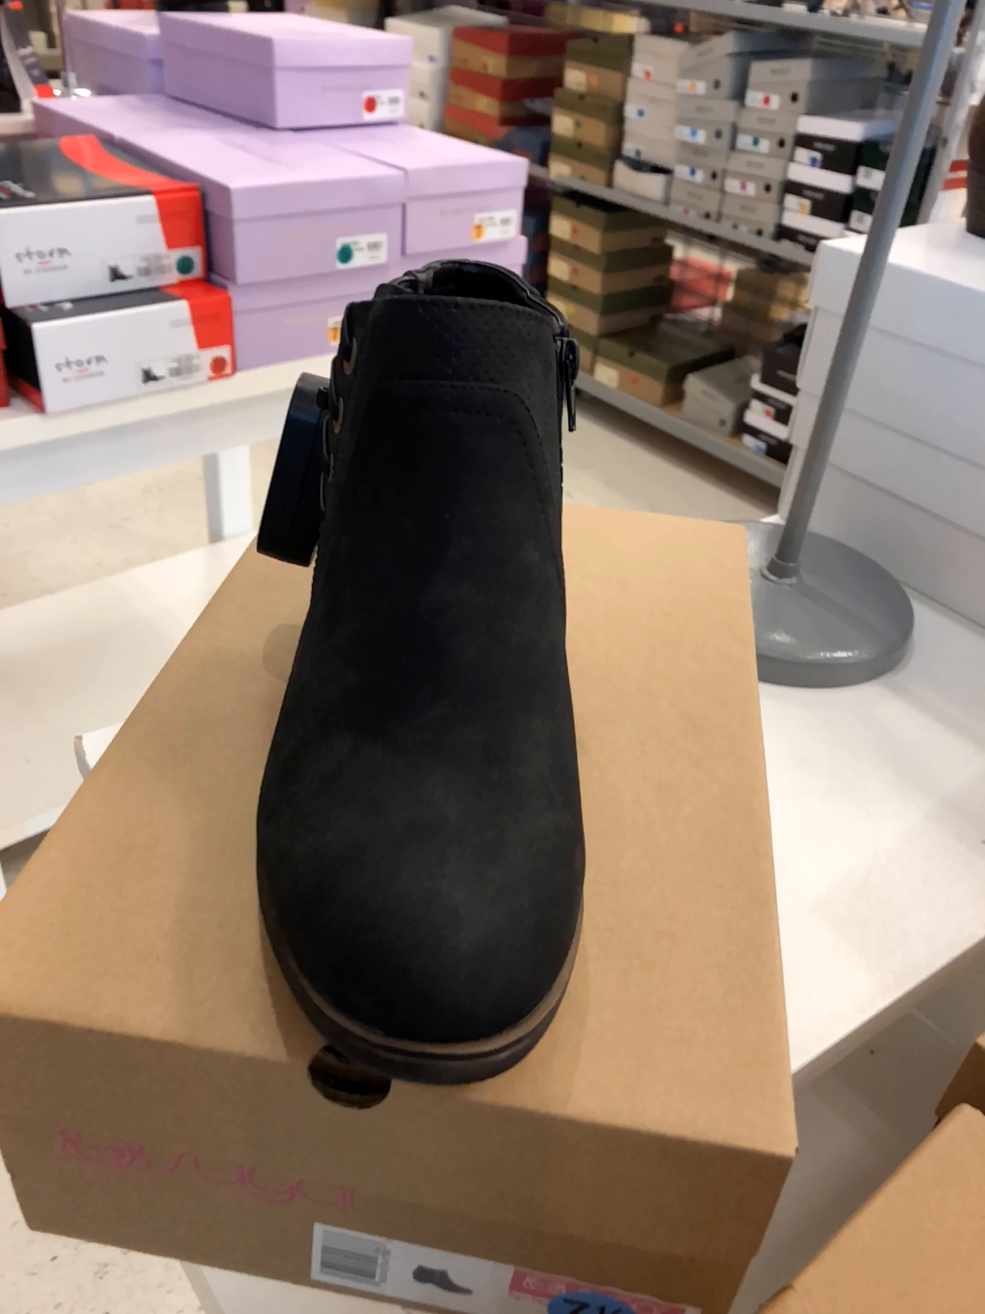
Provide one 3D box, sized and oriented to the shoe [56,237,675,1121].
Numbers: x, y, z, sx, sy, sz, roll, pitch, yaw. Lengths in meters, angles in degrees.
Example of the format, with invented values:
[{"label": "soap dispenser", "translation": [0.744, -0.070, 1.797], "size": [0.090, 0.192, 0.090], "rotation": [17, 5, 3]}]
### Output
[{"label": "shoe", "translation": [-0.021, -0.024, 0.317], "size": [0.100, 0.119, 0.262], "rotation": [5, 34, -1]}]
